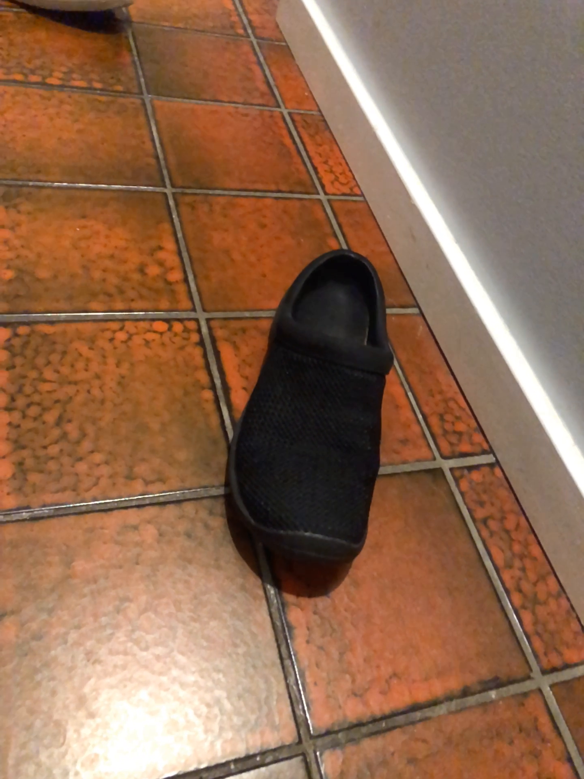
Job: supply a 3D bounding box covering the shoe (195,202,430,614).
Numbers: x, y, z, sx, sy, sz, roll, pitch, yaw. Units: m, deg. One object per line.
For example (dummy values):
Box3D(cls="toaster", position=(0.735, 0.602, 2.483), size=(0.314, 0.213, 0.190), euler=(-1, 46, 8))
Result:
Box3D(cls="shoe", position=(0.023, -0.003, 0.417), size=(0.100, 0.080, 0.251), euler=(16, 50, -5))
